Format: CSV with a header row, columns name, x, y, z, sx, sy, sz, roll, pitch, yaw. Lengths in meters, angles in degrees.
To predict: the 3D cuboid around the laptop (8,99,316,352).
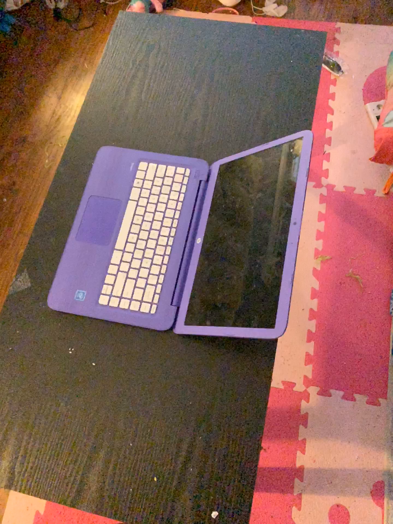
name,x,y,z,sx,sy,sz,roll,pitch,yaw
laptop,-0.037,-0.067,0.667,0.397,0.132,0.340,10,71,8
